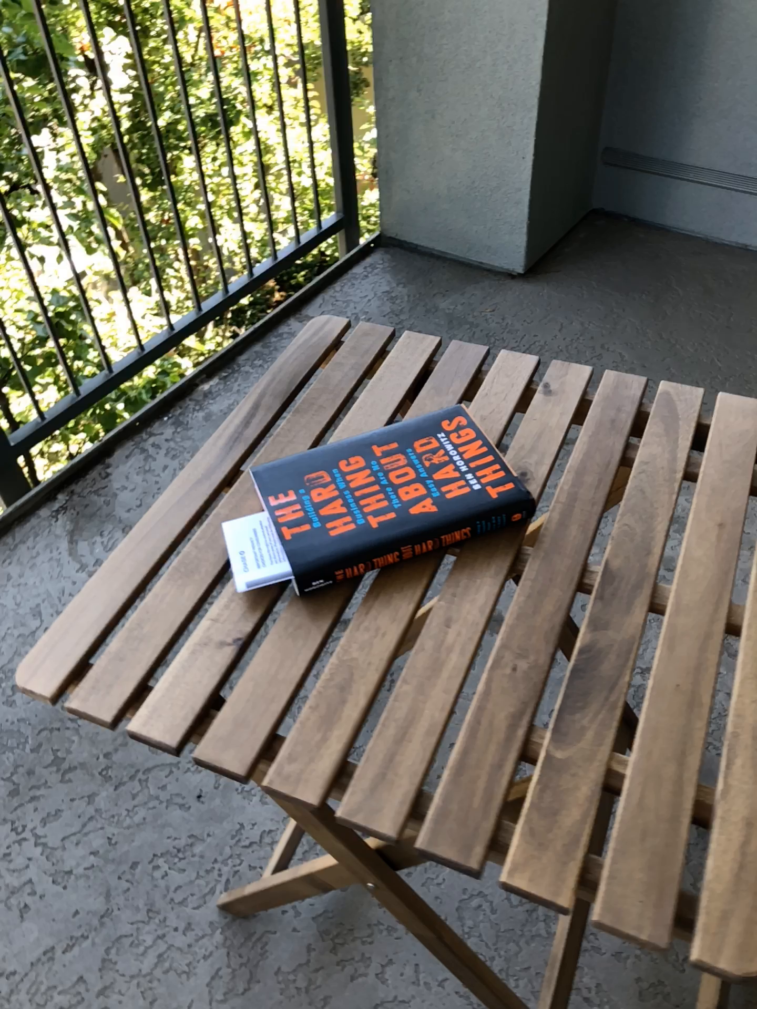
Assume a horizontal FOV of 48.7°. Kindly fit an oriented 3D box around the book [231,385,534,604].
[{"bbox_3d":[-0.001,-0.019,0.815,0.240,0.040,0.181,-17,47,-13],"label":"book"}]
